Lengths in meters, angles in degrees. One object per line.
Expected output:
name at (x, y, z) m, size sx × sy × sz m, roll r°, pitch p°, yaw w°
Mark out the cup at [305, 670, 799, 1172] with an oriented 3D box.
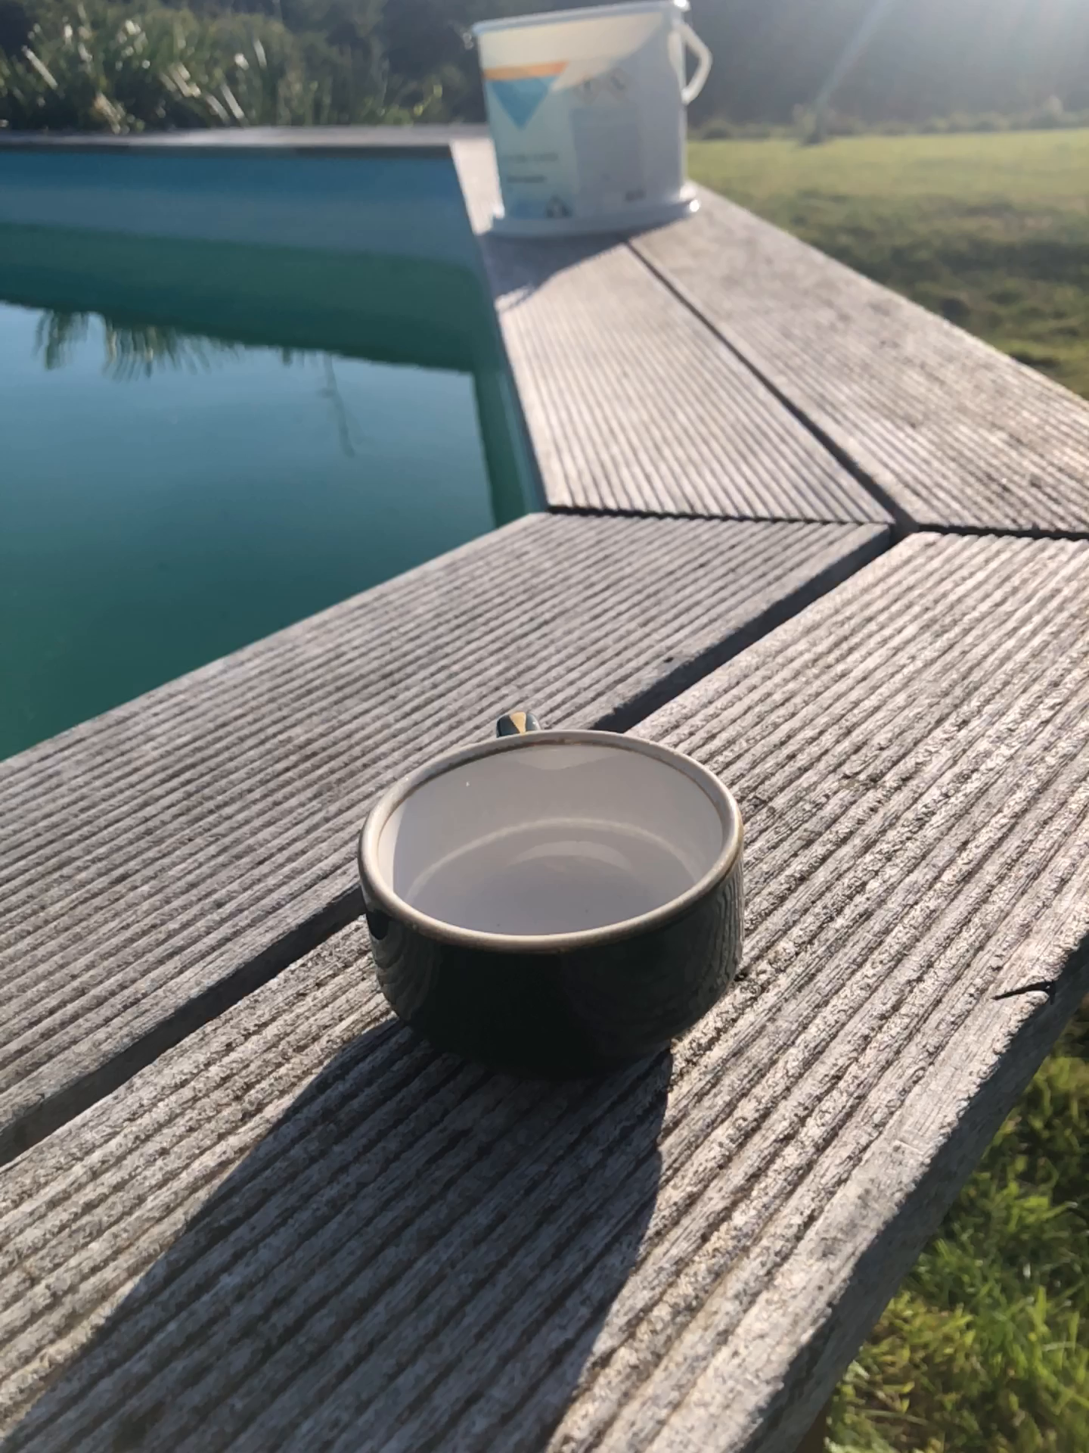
cup at (-0.004, 0.033, 0.249) m, size 0.083 × 0.038 × 0.095 m, roll -9°, pitch 30°, yaw -6°
